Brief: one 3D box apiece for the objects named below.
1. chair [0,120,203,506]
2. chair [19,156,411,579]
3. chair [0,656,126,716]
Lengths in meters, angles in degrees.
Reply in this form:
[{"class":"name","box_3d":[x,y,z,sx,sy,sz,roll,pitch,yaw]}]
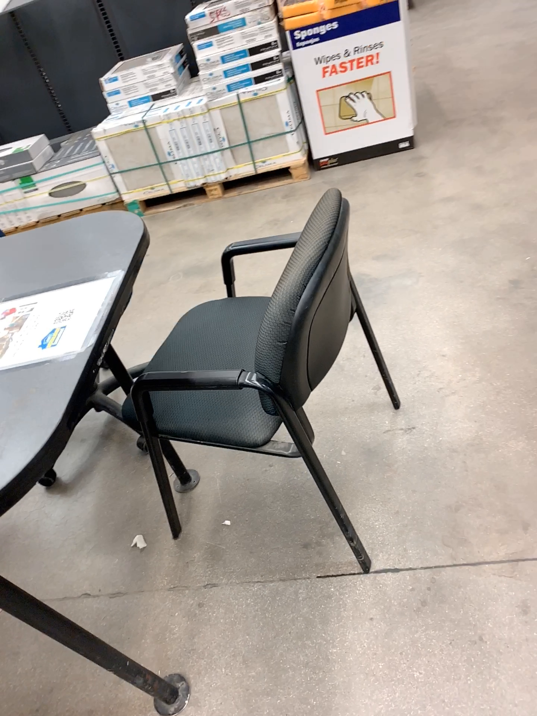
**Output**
[{"class":"chair","box_3d":[-0.799,-0.117,1.741,0.716,0.917,0.645,1,42,24]},{"class":"chair","box_3d":[-0.020,0.027,1.363,0.585,0.749,0.606,1,42,24]},{"class":"chair","box_3d":[-0.715,0.853,0.629,0.637,0.777,0.585,-4,40,19]}]
